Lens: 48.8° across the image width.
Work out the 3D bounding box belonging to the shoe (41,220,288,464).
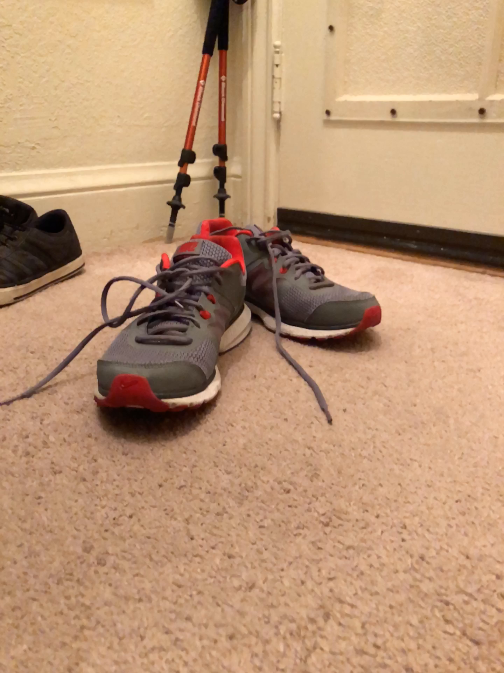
[{"bbox_3d":[-0.054,-0.022,0.531,0.113,0.120,0.299,6,22,14],"label":"shoe"}]

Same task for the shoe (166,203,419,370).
[{"bbox_3d":[0.032,-0.078,0.671,0.113,0.120,0.298,-19,29,-40],"label":"shoe"}]
